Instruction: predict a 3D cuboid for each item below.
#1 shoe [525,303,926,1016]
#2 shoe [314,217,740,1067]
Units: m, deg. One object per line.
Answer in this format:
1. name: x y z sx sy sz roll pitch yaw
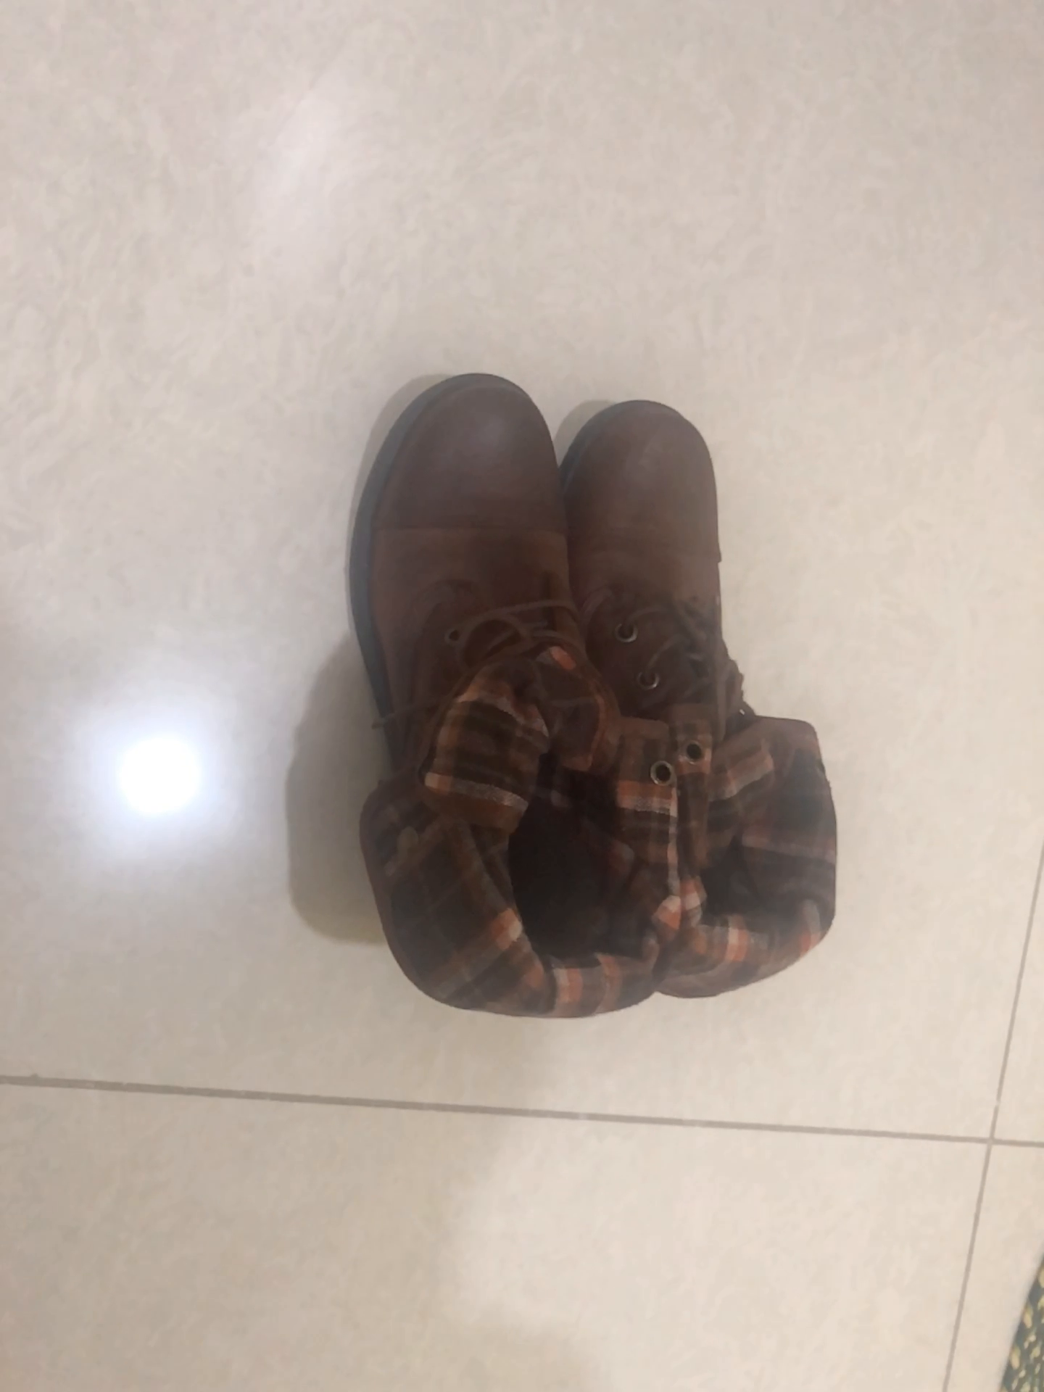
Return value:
1. shoe: 0.085 -0.014 0.524 0.100 0.140 0.270 2 91 -30
2. shoe: -0.004 -0.019 0.474 0.110 0.149 0.280 -3 93 -29
